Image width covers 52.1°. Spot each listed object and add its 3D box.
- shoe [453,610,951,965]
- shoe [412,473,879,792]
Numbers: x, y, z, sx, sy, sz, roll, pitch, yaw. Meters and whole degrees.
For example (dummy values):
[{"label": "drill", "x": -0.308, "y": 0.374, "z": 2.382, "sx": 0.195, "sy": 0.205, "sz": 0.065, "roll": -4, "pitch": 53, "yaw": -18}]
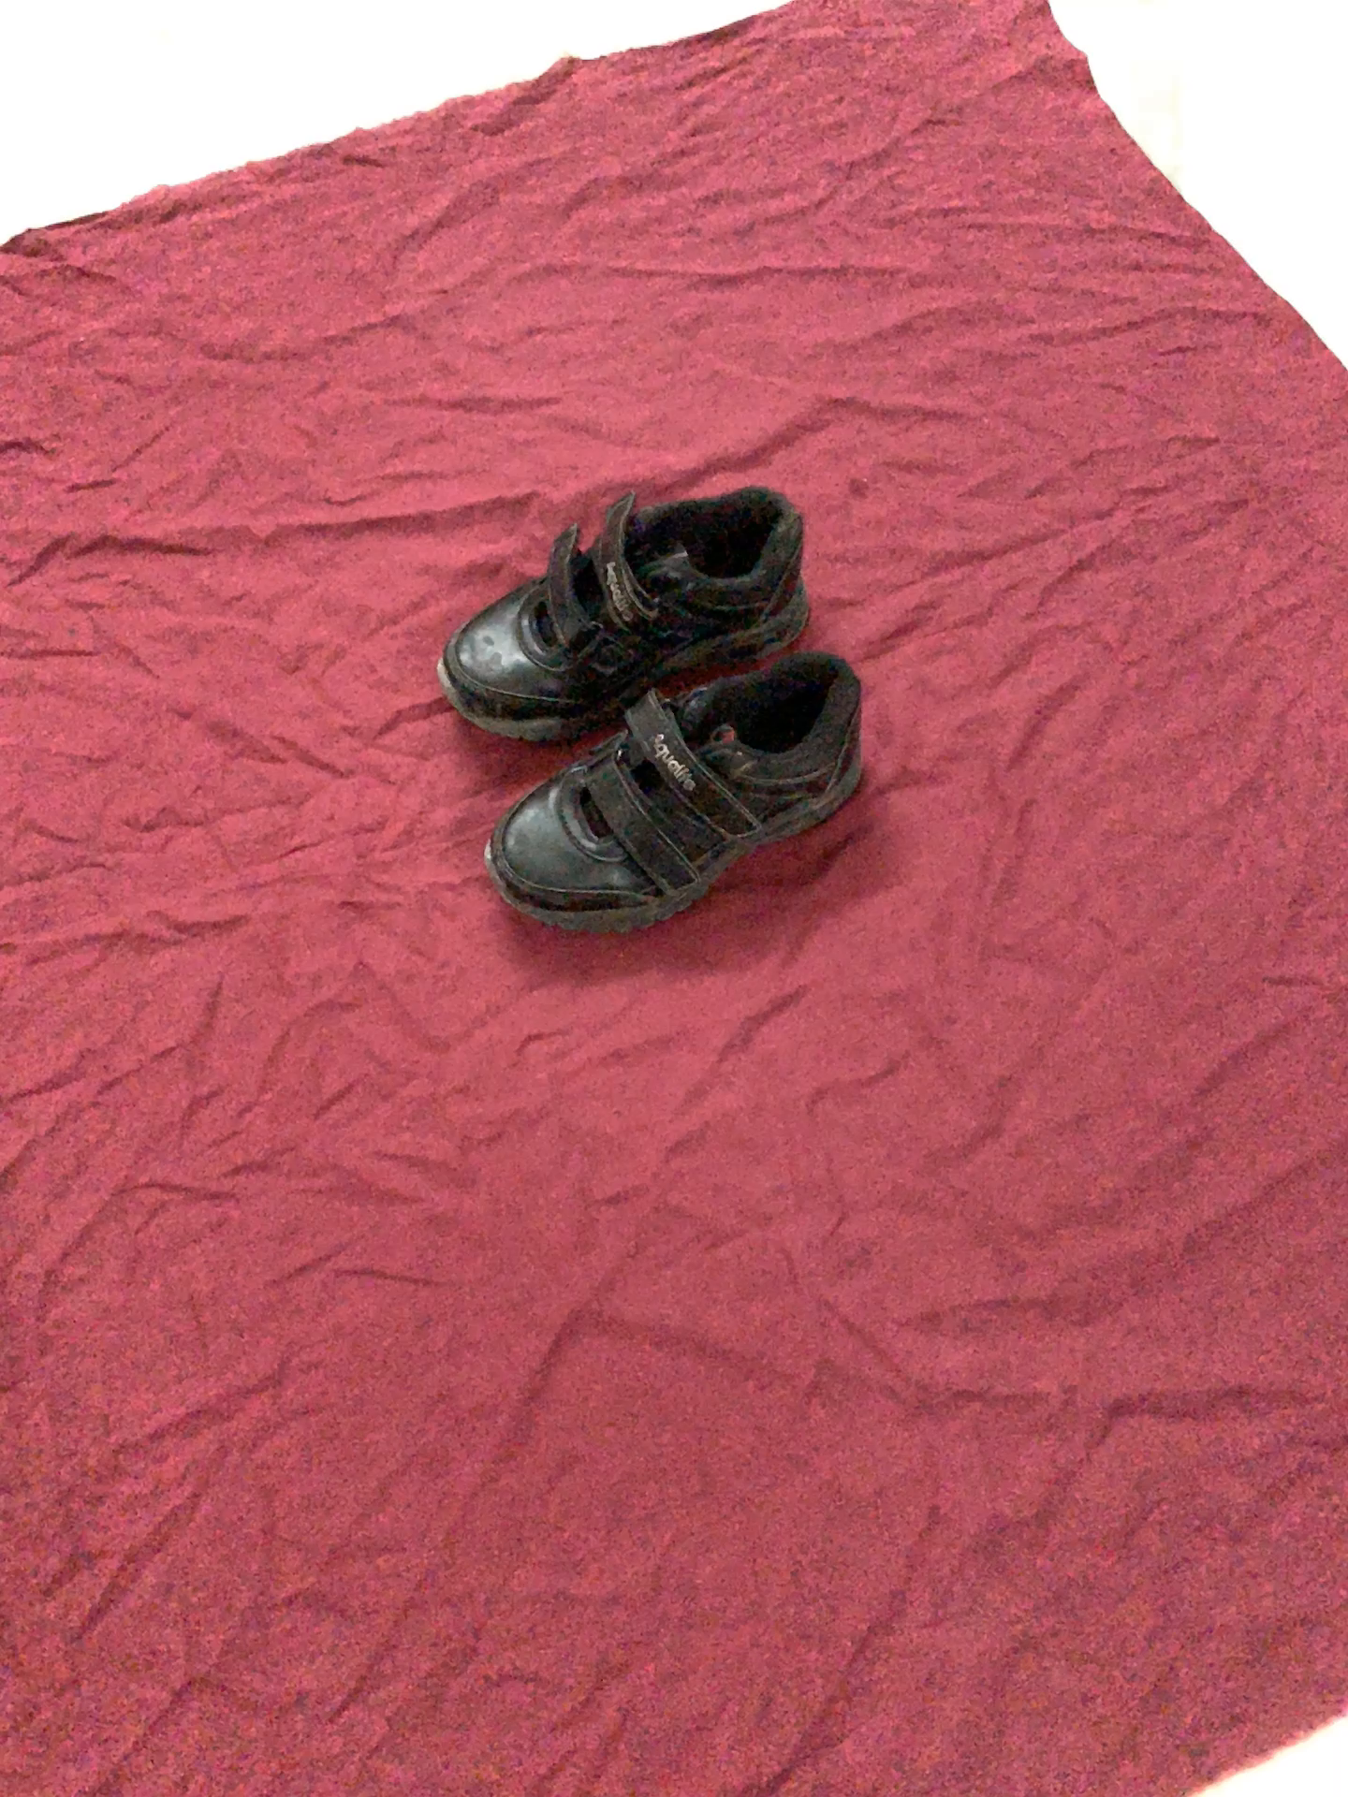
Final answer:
[{"label": "shoe", "x": 0.014, "y": -0.051, "z": 0.643, "sx": 0.210, "sy": 0.070, "sz": 0.070, "roll": -22, "pitch": 68, "yaw": -7}, {"label": "shoe", "x": -0.013, "y": -0.131, "z": 0.686, "sx": 0.210, "sy": 0.070, "sz": 0.070, "roll": -19, "pitch": 68, "yaw": -6}]
